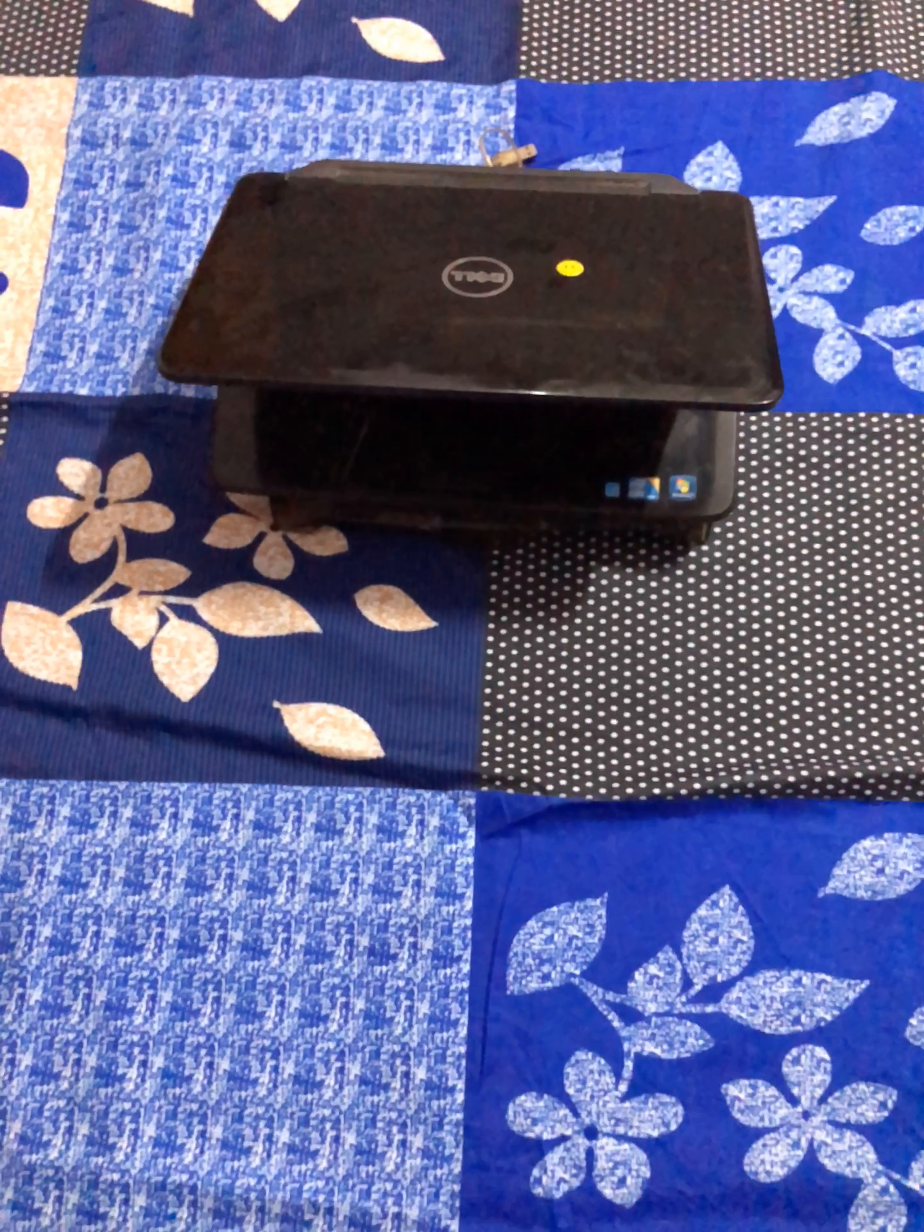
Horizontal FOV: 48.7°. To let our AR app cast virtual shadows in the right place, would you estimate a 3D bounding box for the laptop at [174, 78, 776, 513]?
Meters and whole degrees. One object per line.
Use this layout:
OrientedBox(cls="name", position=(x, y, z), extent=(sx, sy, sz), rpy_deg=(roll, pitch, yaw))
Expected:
OrientedBox(cls="laptop", position=(0.013, -0.211, 0.685), extent=(0.362, 0.093, 0.236), rpy_deg=(4, 80, 3))
